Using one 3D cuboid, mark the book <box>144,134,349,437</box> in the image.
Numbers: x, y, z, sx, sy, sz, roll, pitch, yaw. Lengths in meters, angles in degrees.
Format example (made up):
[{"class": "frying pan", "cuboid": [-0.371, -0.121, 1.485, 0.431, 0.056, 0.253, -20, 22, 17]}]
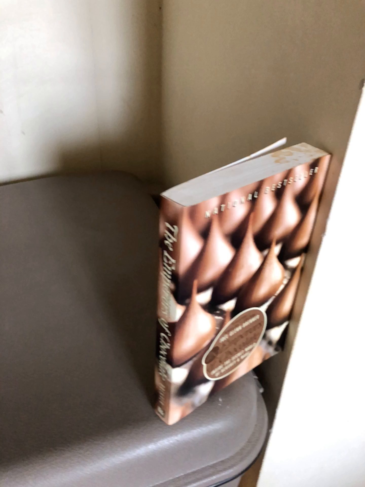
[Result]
[{"class": "book", "cuboid": [0.048, 0.031, 0.323, 0.160, 0.199, 0.040, -24, 41, -35]}]
